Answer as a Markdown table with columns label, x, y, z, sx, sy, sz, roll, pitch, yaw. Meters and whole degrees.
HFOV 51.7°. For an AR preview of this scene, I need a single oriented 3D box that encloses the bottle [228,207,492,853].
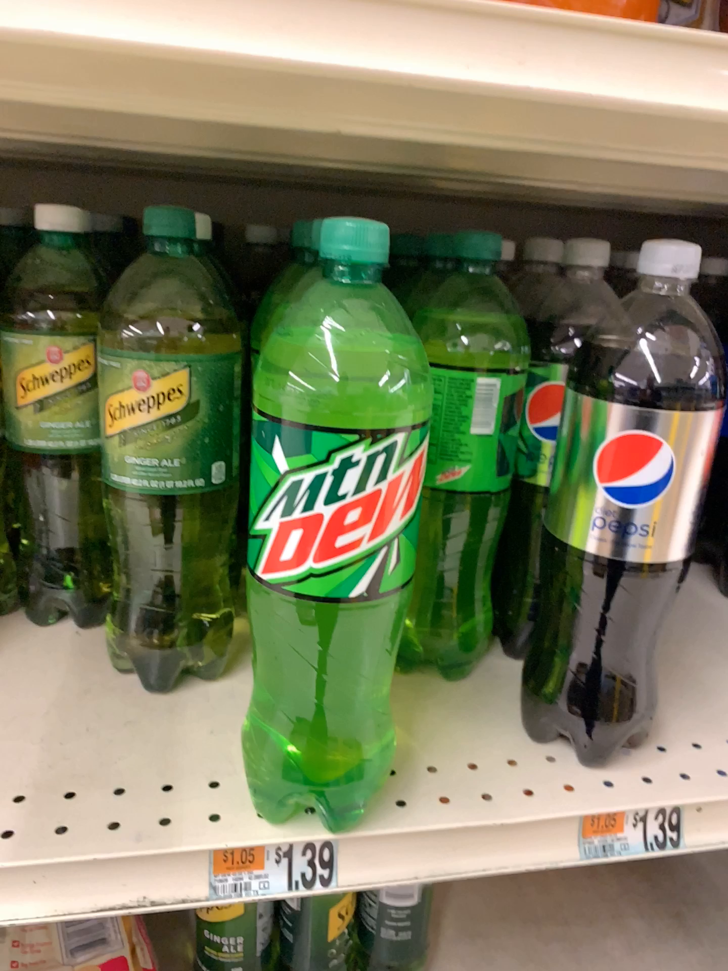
| label | x | y | z | sx | sy | sz | roll | pitch | yaw |
| --- | --- | --- | --- | --- | --- | --- | --- | --- | --- |
| bottle | -0.014 | 0.026 | 0.379 | 0.100 | 0.302 | 0.090 | 1 | 17 | -9 |
